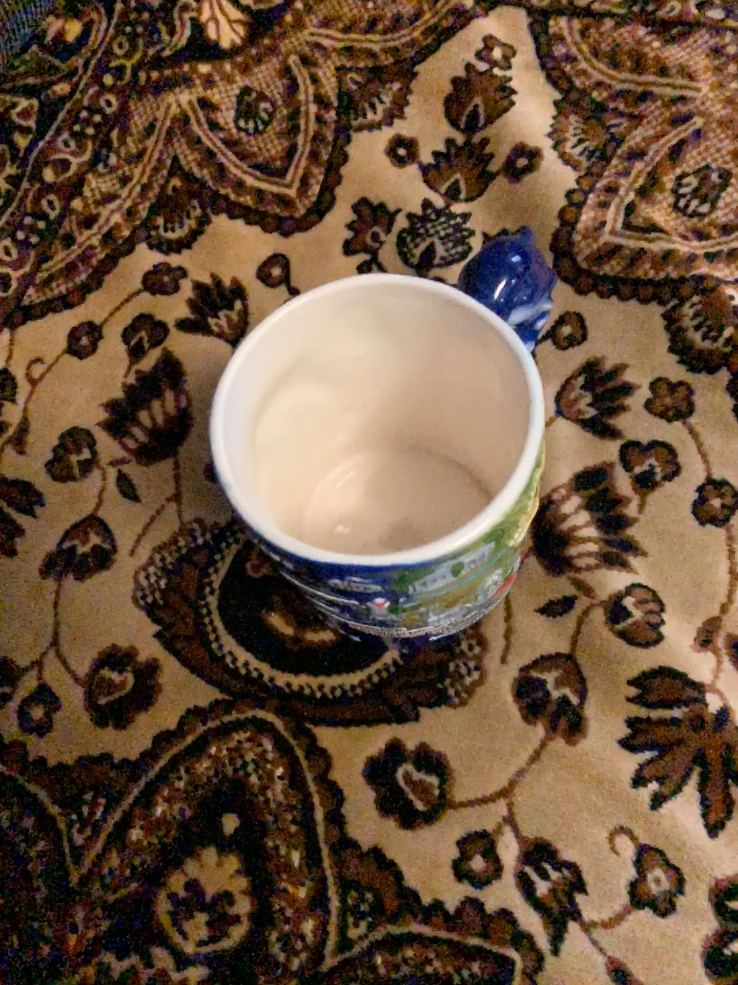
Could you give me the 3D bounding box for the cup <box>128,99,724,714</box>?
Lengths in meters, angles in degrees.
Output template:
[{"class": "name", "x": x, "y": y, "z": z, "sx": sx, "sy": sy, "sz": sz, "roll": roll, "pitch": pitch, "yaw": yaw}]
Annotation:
[{"class": "cup", "x": 0.020, "y": -0.018, "z": 0.233, "sx": 0.089, "sy": 0.106, "sz": 0.128, "roll": 30, "pitch": 74, "yaw": 16}]
